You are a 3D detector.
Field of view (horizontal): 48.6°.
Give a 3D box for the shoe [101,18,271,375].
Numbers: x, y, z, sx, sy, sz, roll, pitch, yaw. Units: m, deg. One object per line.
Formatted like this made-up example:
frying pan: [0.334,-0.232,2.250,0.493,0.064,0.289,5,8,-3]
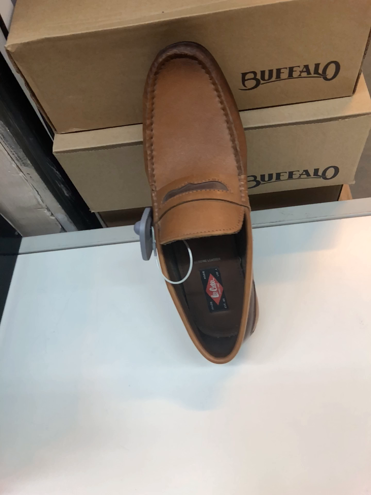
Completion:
shoe: [0.013,-0.039,0.400,0.102,0.103,0.294,-7,103,10]
